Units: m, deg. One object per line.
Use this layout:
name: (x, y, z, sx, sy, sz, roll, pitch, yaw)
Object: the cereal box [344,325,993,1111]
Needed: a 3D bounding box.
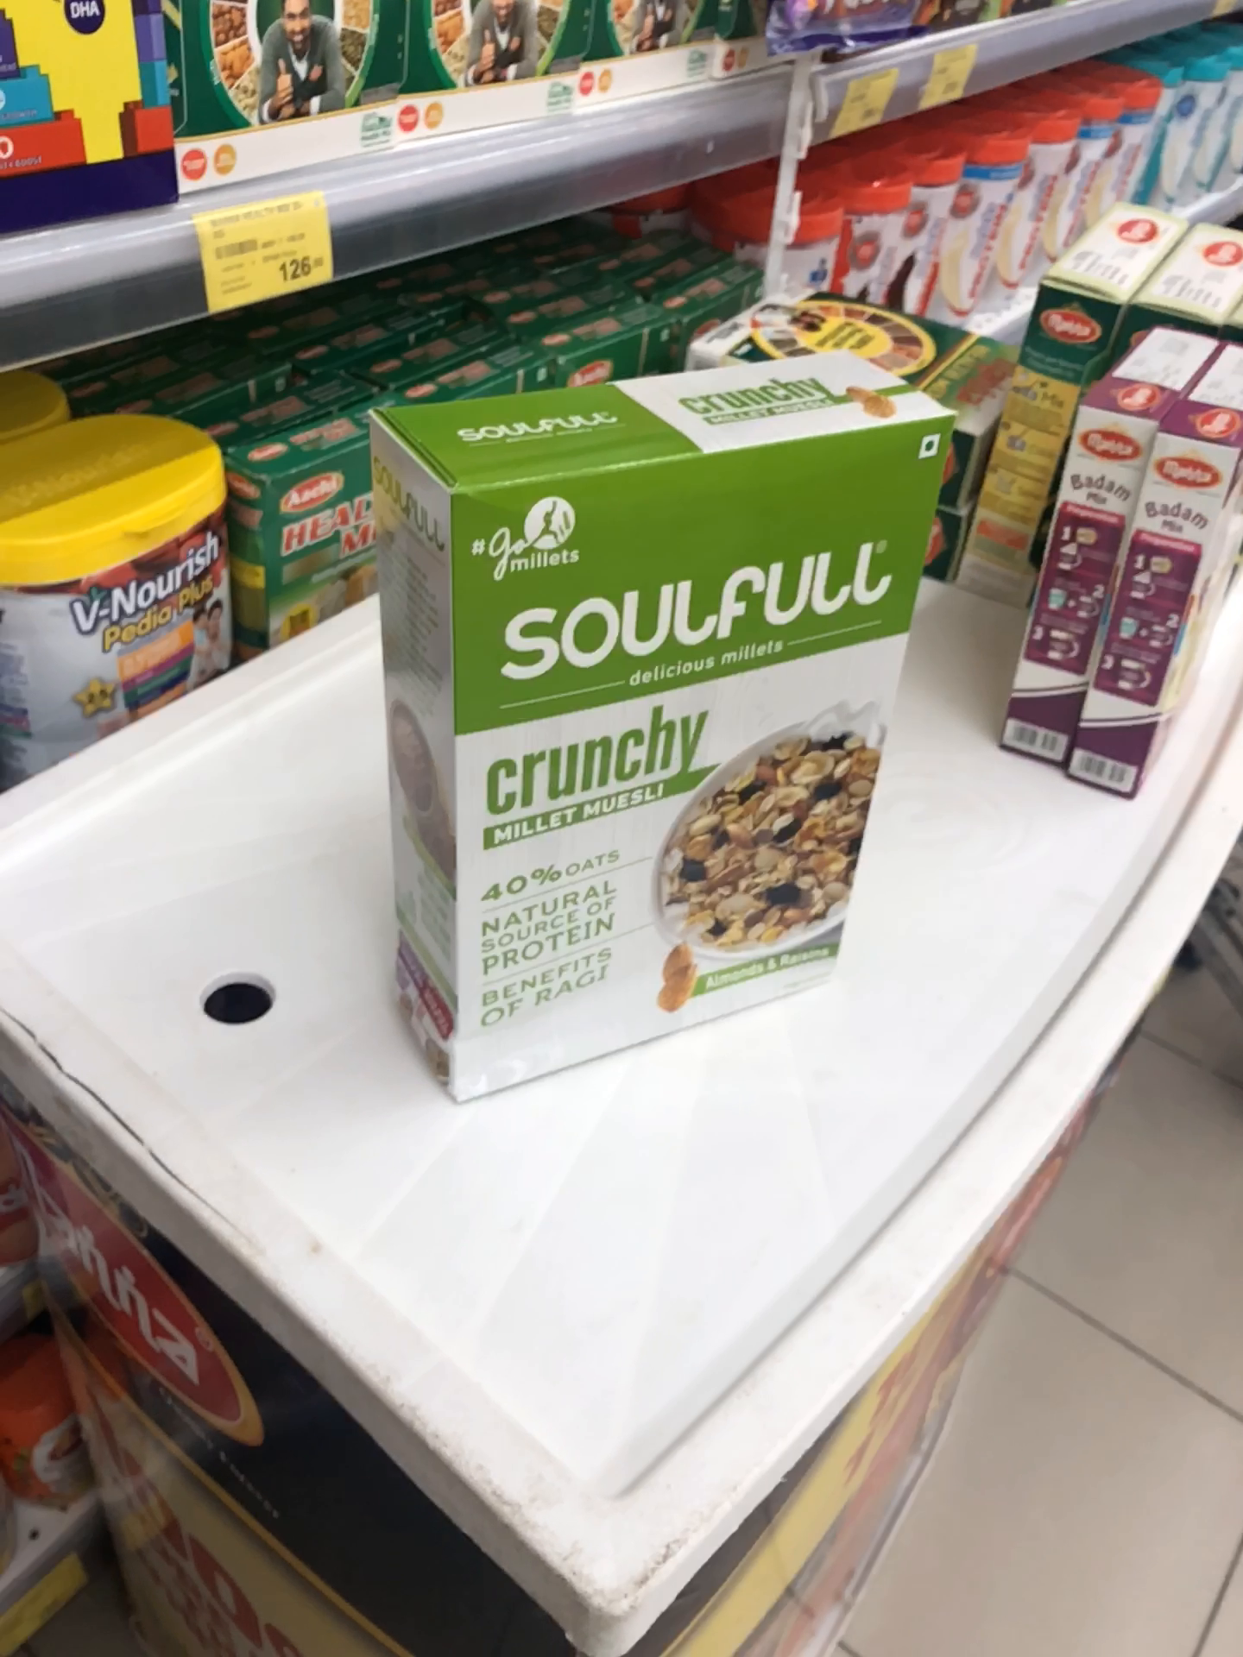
cereal box: (0.008, -0.032, 0.490, 0.180, 0.249, 0.070, -15, 45, -22)
